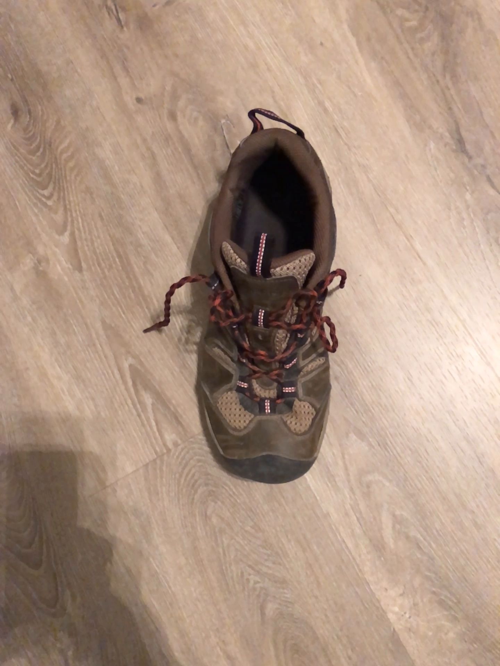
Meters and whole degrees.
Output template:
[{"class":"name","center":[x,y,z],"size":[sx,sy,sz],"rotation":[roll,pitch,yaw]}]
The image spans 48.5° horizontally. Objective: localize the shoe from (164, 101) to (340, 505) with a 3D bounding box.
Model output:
[{"class":"shoe","center":[0.009,-0.020,0.421],"size":[0.110,0.100,0.270],"rotation":[1,83,7]}]
